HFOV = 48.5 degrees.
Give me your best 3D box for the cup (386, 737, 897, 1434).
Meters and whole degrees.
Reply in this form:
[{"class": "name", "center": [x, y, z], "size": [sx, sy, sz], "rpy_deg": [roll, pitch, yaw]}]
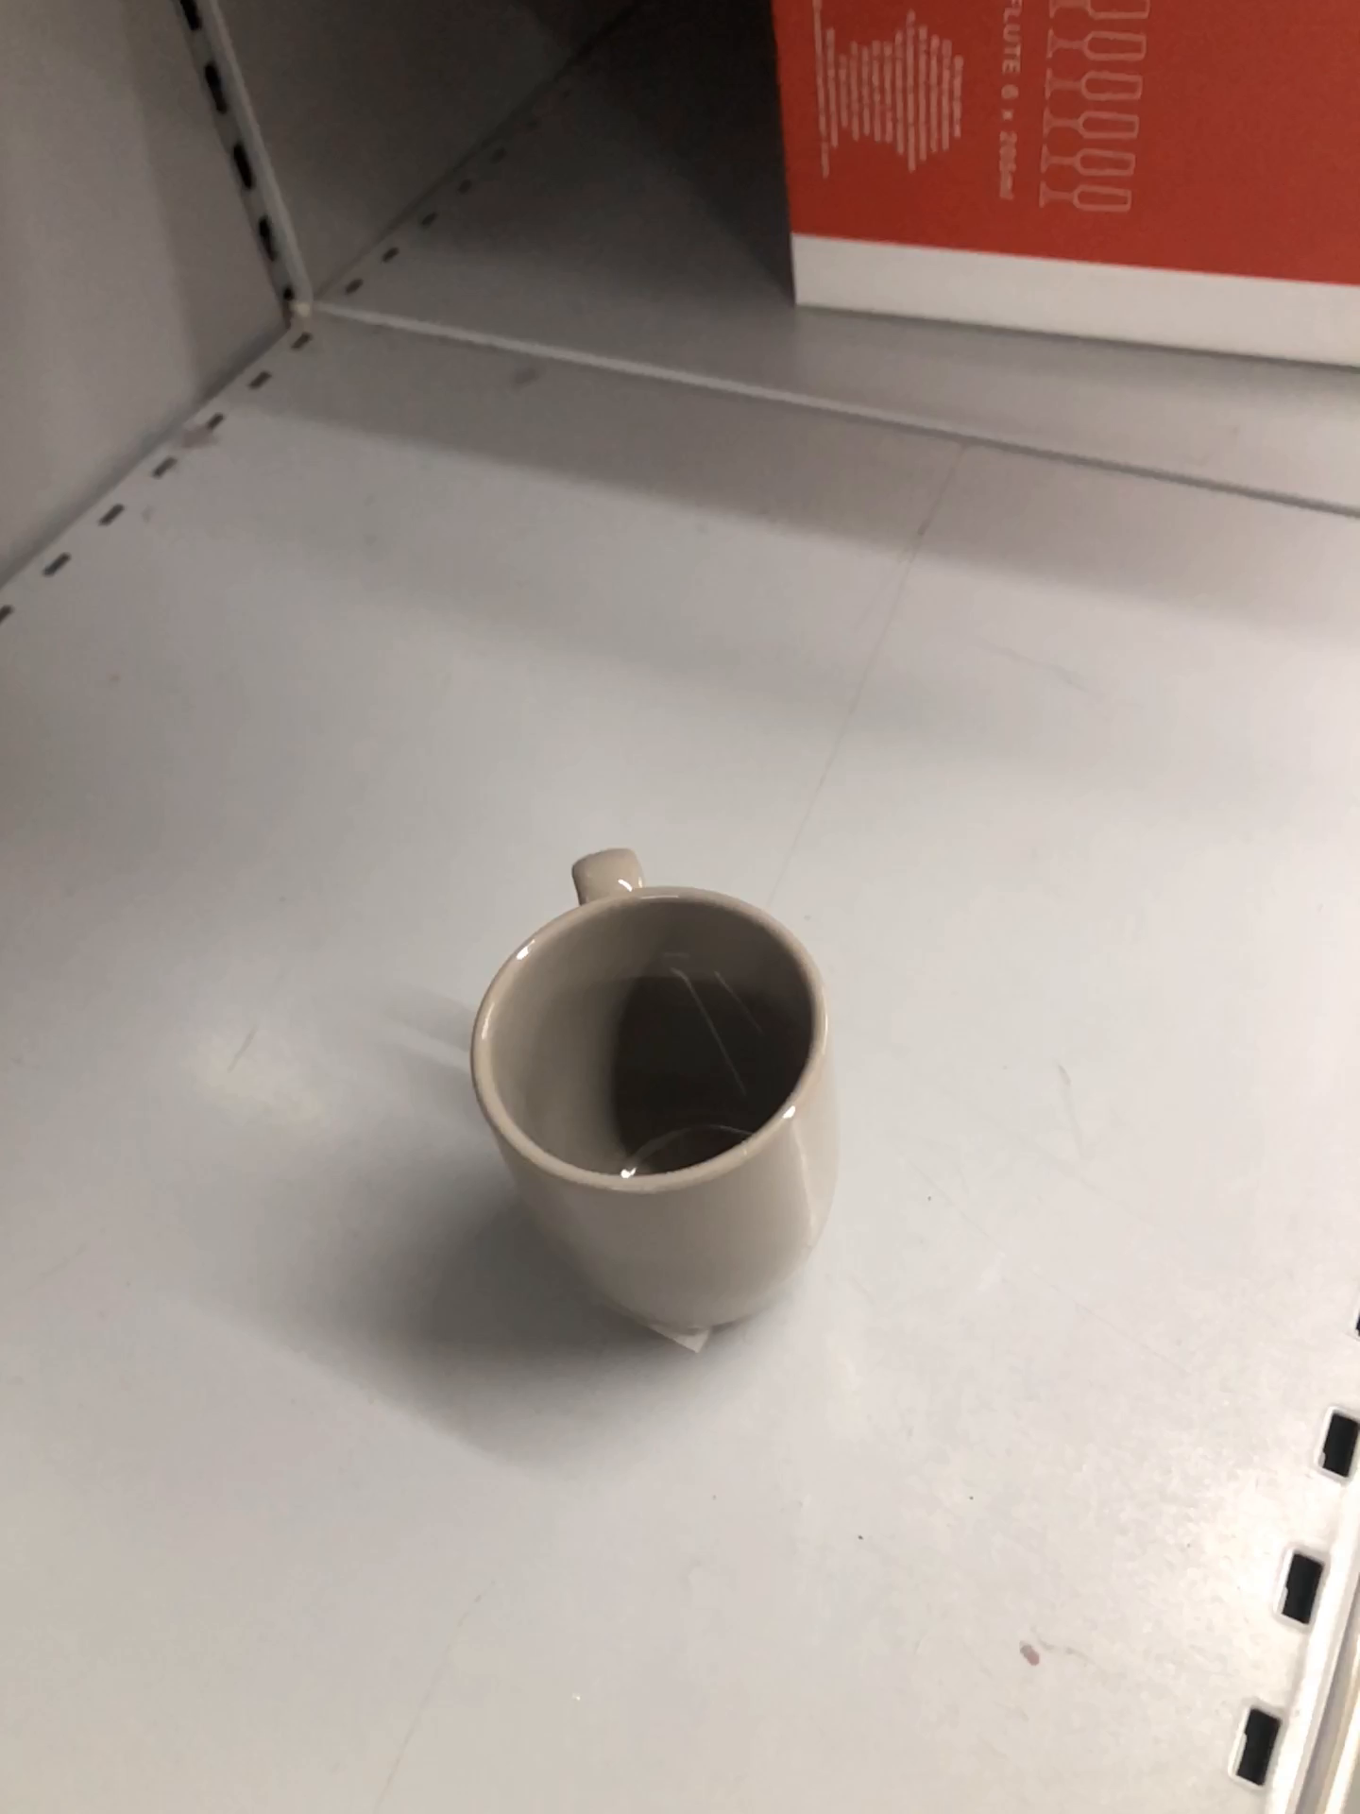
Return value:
[{"class": "cup", "center": [-0.007, 0.030, 0.270], "size": [0.064, 0.062, 0.092], "rpy_deg": [-15, 52, -4]}]
